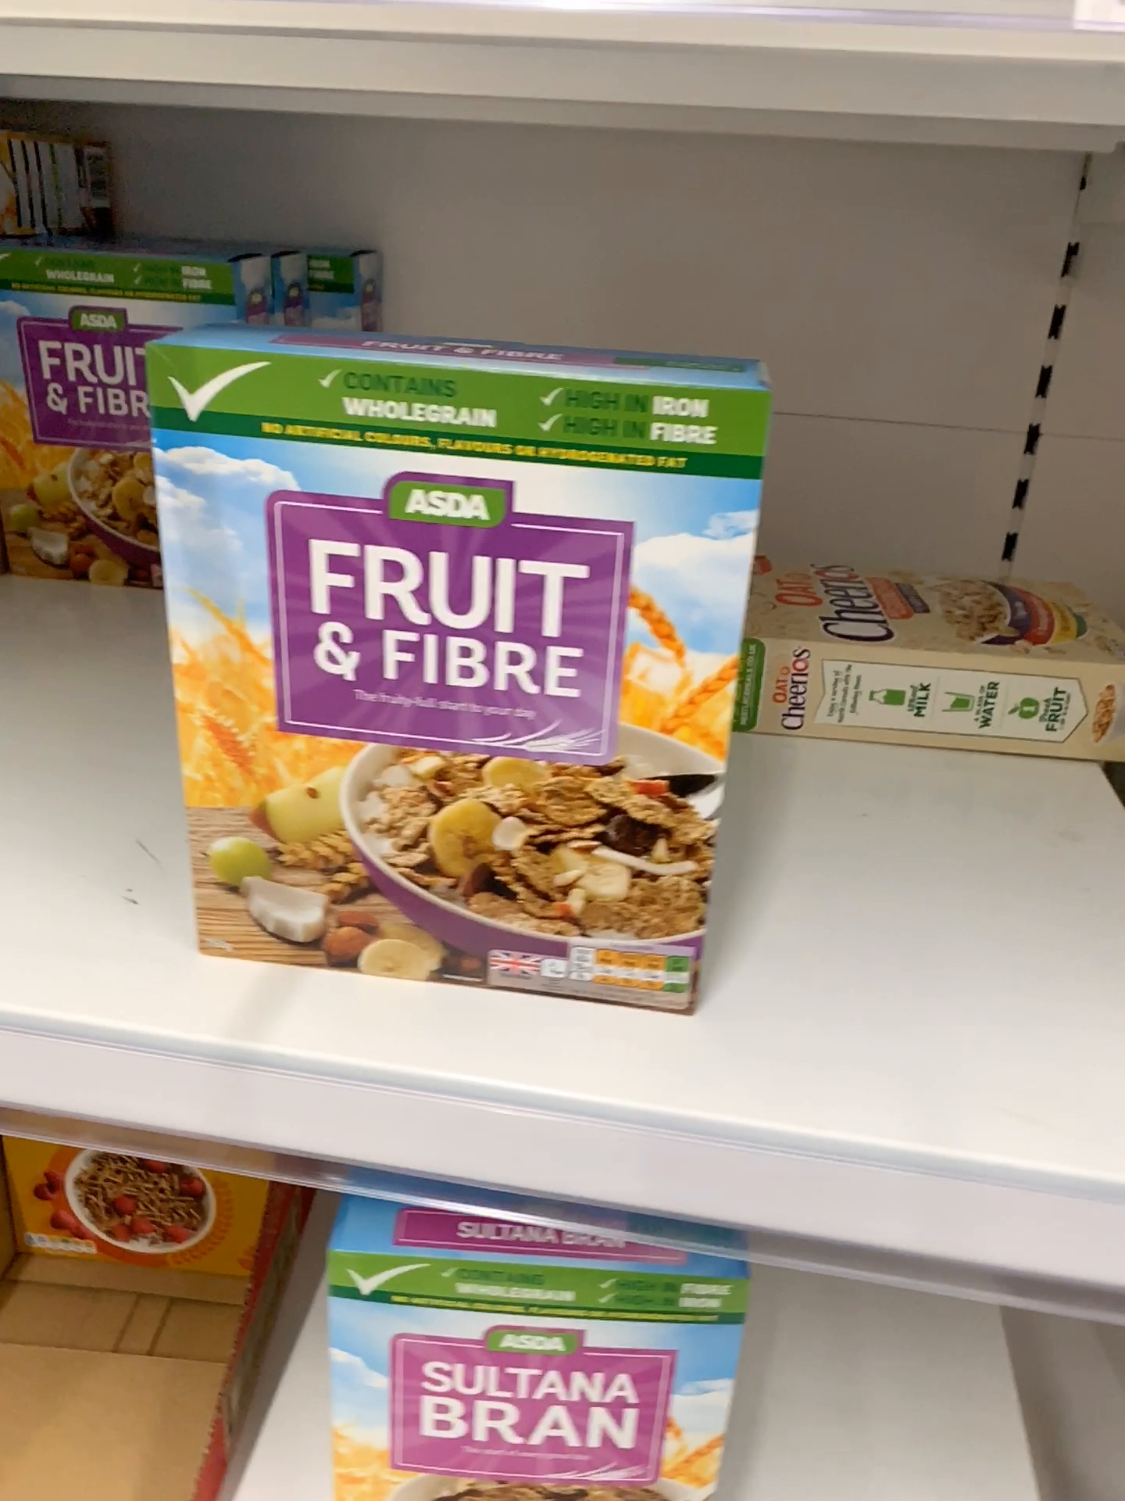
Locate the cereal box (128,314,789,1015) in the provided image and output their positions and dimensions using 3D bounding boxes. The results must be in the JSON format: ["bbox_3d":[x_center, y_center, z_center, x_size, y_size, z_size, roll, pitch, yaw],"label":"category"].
[{"bbox_3d":[-0.040,-0.034,0.484,0.230,0.258,0.081,6,25,6],"label":"cereal box"}]
